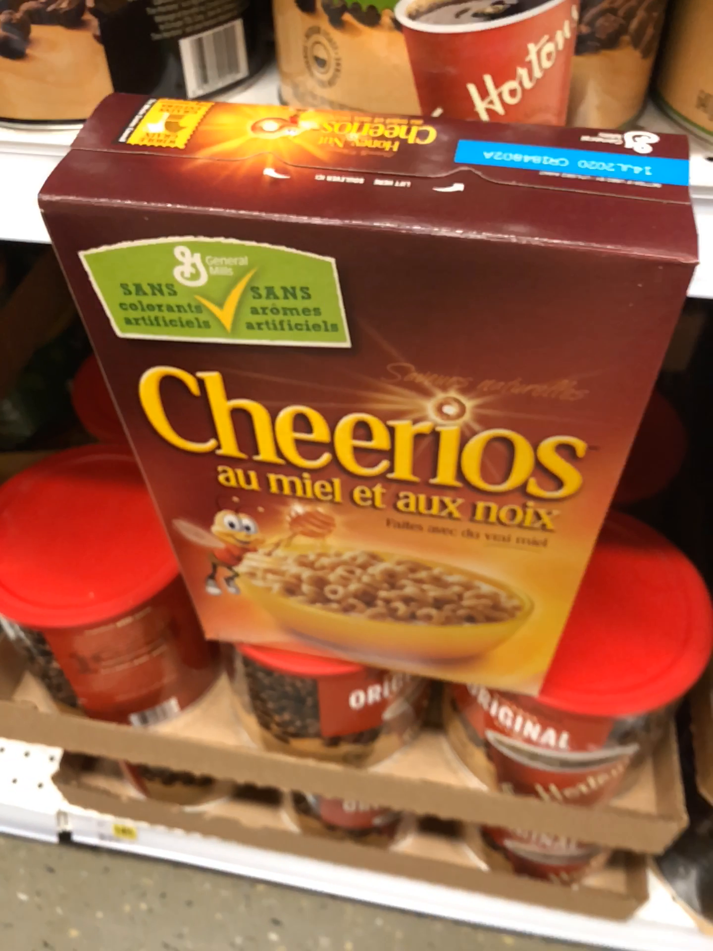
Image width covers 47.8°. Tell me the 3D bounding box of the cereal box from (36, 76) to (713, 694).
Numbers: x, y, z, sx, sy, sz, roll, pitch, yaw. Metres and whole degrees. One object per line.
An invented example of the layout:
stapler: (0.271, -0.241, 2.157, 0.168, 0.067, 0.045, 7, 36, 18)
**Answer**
cereal box: (0.014, -0.010, 0.354, 0.200, 0.289, 0.060, 8, 52, 9)
